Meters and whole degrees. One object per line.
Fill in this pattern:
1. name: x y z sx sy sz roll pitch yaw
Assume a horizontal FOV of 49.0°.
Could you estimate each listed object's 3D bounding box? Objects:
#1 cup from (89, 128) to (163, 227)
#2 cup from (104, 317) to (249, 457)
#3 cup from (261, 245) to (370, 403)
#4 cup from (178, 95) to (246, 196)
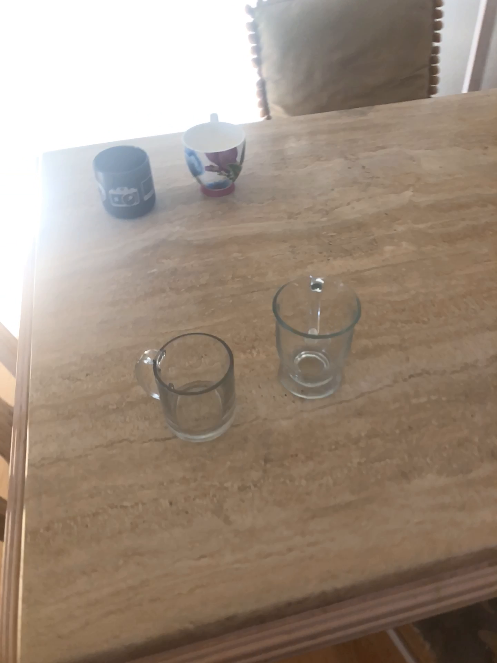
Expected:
1. cup: -0.205 -0.266 0.937 0.090 0.109 0.131 -3 46 0
2. cup: -0.075 0.063 0.622 0.130 0.109 0.091 9 47 10
3. cup: 0.074 -0.011 0.649 0.110 0.109 0.151 2 46 4
4. cup: -0.059 -0.330 0.962 0.100 0.099 0.171 0 46 2
